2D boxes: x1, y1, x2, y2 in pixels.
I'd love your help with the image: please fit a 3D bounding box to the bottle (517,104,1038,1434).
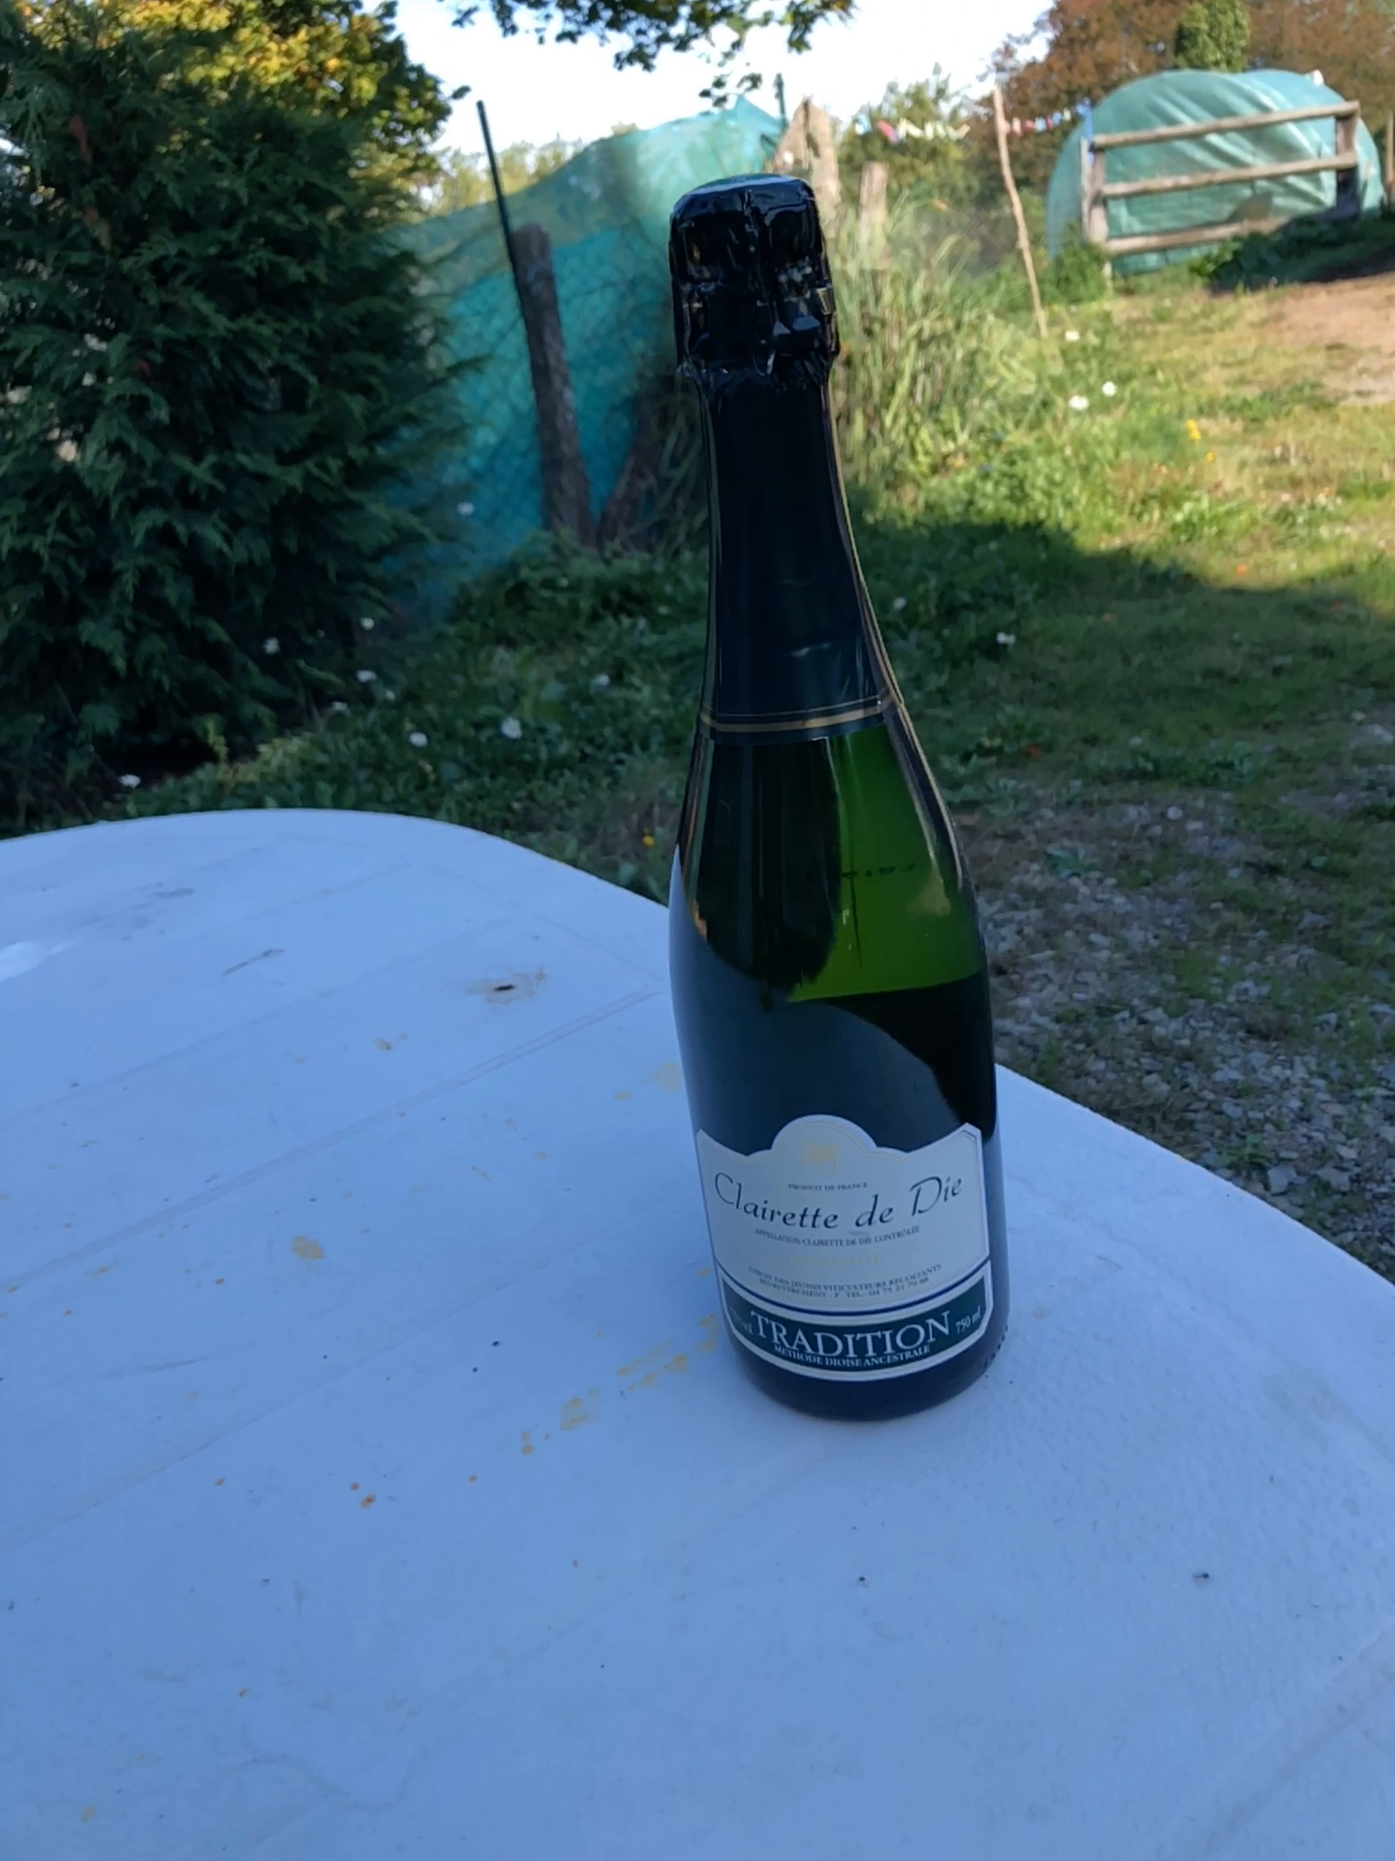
[{"bbox_3d":[0.037,-0.030,0.396,0.090,0.308,0.101,-1,24,14],"label":"bottle"}]
